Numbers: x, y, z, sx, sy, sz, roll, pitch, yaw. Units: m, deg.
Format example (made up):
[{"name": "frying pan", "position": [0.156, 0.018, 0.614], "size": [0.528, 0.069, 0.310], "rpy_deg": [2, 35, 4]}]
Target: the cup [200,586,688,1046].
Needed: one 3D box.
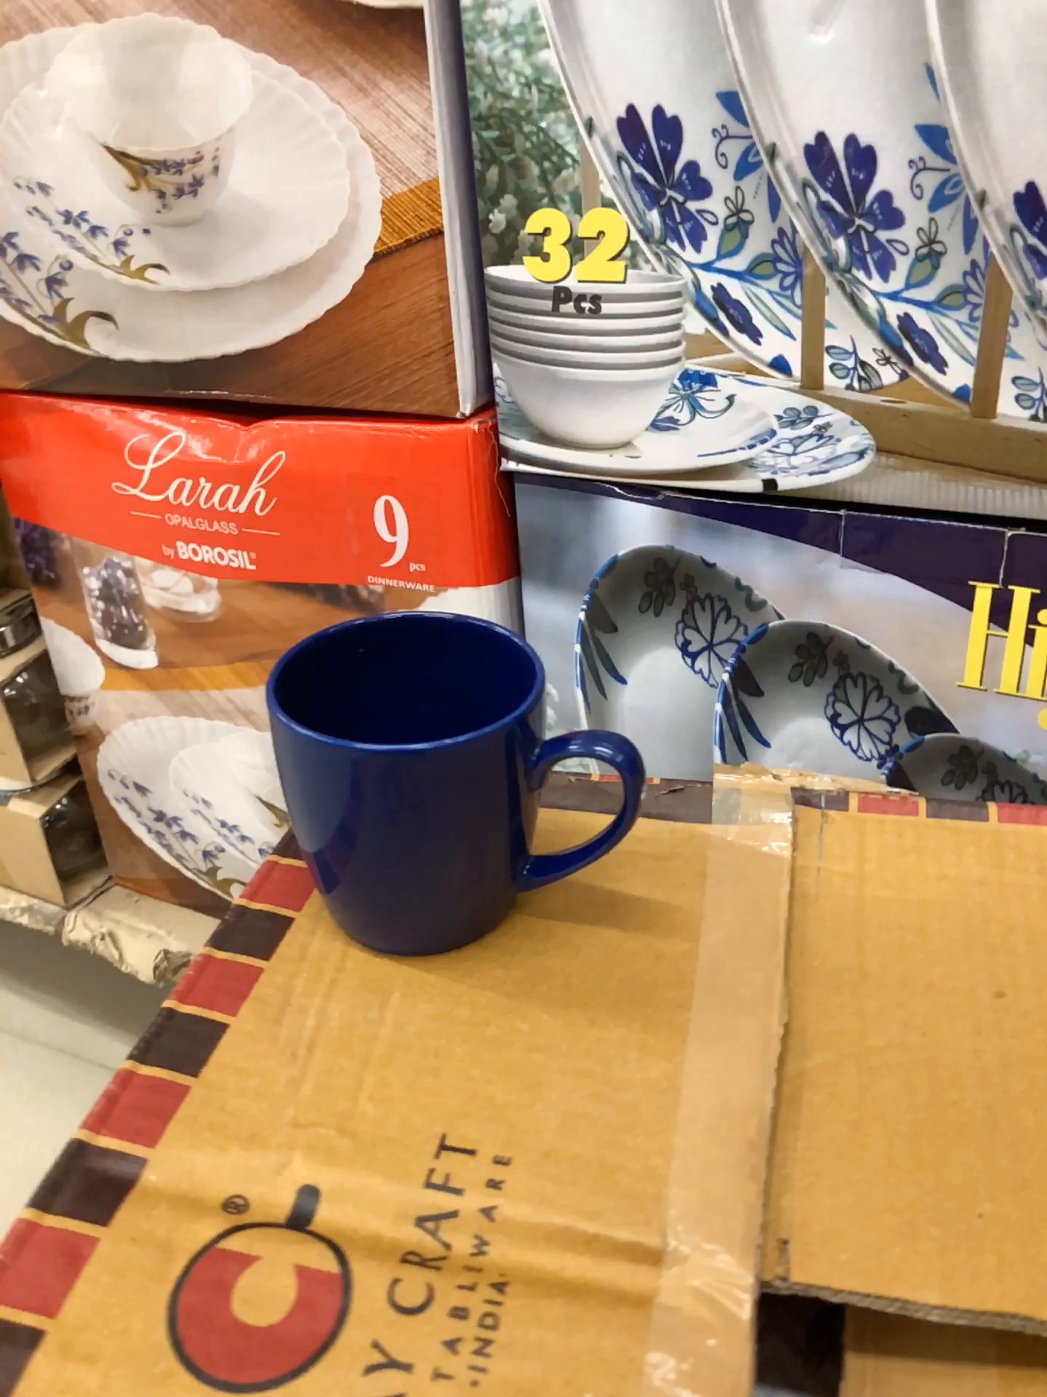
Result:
[{"name": "cup", "position": [-0.014, 0.025, 0.302], "size": [0.100, 0.079, 0.070], "rpy_deg": [7, 30, 20]}]
